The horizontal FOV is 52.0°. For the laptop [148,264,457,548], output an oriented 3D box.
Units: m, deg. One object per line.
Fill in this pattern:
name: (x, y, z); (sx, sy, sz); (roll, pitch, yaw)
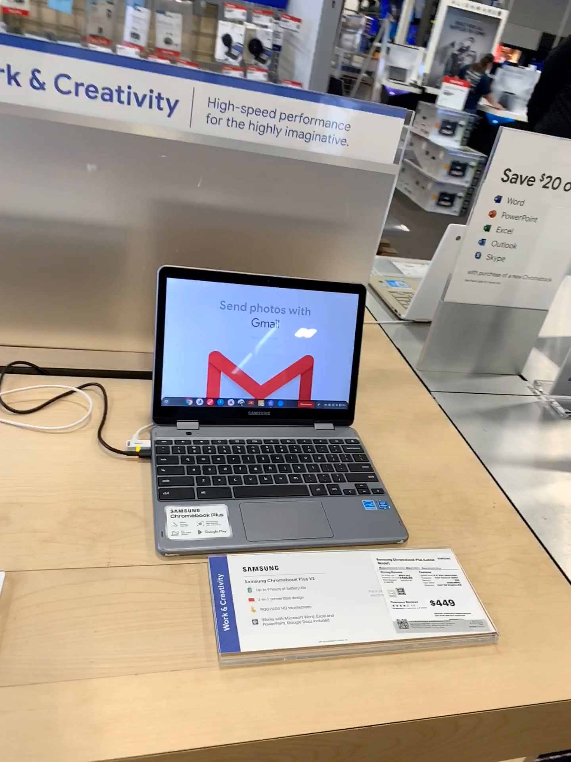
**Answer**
laptop: (-0.011, 0.018, 0.692); (0.274, 0.183, 0.276); (2, 33, -17)
